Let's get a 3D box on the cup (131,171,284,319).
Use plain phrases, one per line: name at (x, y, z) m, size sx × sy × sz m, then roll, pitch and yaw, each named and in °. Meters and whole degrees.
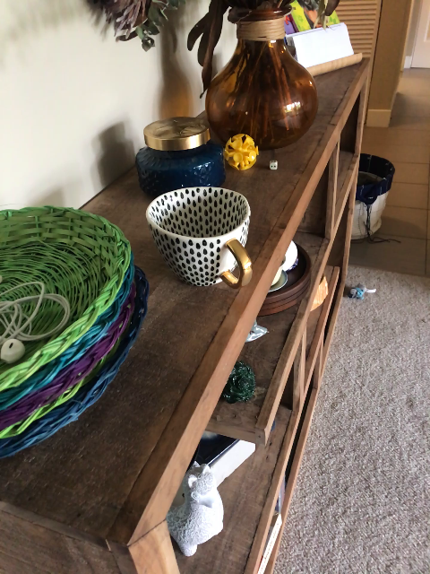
cup at (-0.009, -0.051, 0.487) m, size 0.100 × 0.079 × 0.130 m, roll -22°, pitch 40°, yaw -24°
